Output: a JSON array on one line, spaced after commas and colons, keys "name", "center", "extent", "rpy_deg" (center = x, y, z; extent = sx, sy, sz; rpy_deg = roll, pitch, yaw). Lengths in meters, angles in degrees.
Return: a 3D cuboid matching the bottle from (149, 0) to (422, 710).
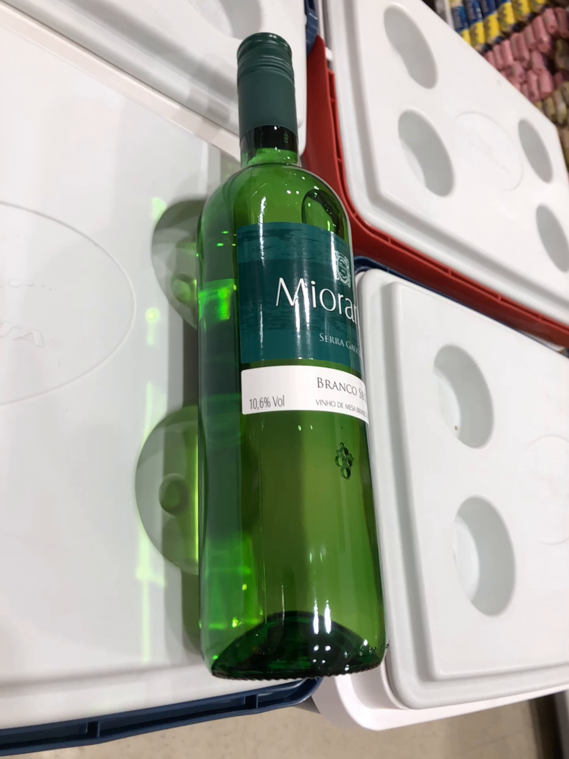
[{"name": "bottle", "center": [-0.011, -0.050, 0.306], "extent": [0.080, 0.070, 0.361], "rpy_deg": [14, 64, -41]}]
